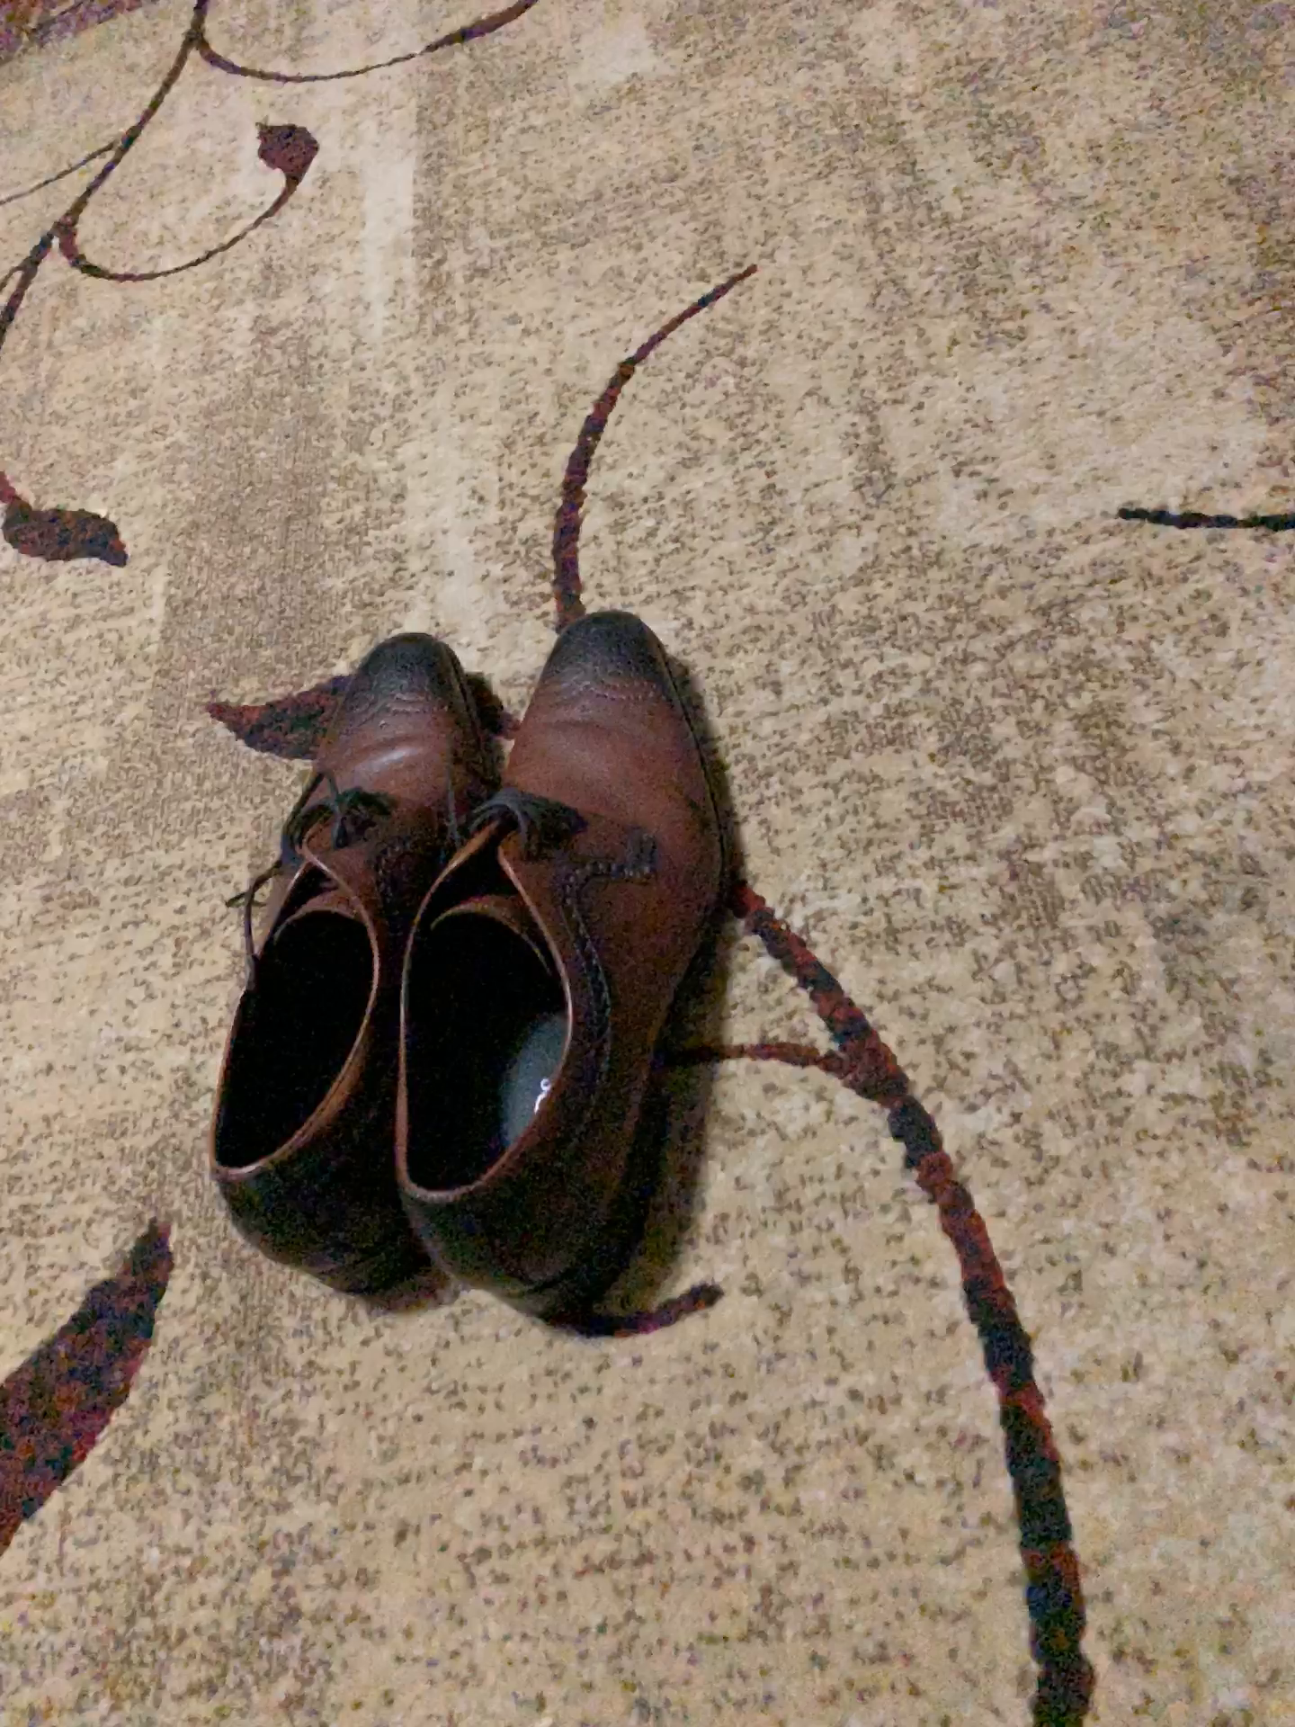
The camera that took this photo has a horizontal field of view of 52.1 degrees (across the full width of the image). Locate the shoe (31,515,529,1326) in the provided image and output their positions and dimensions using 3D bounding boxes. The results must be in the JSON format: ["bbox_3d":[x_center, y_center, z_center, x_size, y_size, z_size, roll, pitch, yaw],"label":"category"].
[{"bbox_3d":[-0.123,0.016,0.519,0.100,0.115,0.288,-9,56,15],"label":"shoe"}]

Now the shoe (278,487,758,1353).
[{"bbox_3d":[-0.028,0.015,0.484,0.100,0.115,0.288,-5,57,17],"label":"shoe"}]
